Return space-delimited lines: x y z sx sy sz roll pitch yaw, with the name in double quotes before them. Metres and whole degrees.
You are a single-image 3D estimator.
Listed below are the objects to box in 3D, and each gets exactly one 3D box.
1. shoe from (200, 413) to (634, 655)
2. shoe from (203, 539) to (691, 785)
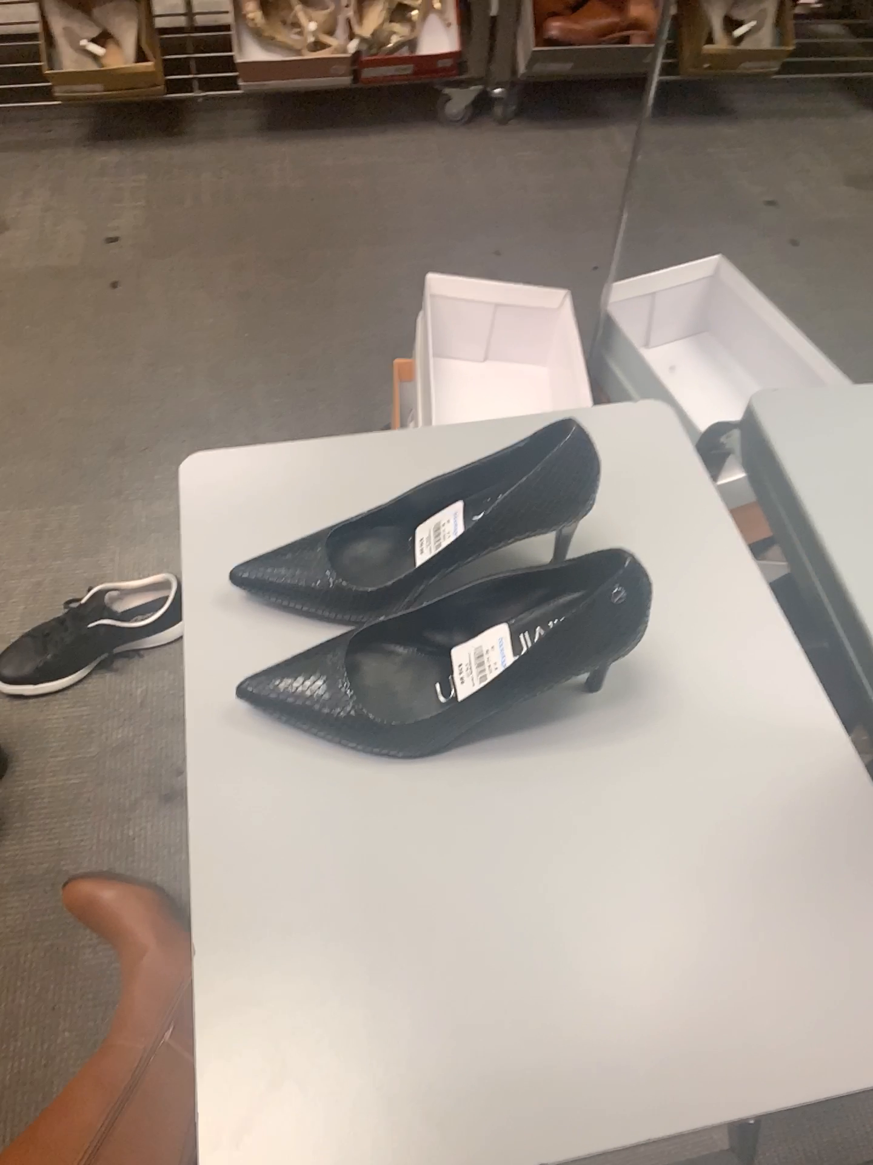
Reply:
"shoe" -0.014 -0.033 0.577 0.253 0.085 0.080 -10 52 -10
"shoe" 0.002 0.045 0.514 0.253 0.084 0.080 -6 52 -7
